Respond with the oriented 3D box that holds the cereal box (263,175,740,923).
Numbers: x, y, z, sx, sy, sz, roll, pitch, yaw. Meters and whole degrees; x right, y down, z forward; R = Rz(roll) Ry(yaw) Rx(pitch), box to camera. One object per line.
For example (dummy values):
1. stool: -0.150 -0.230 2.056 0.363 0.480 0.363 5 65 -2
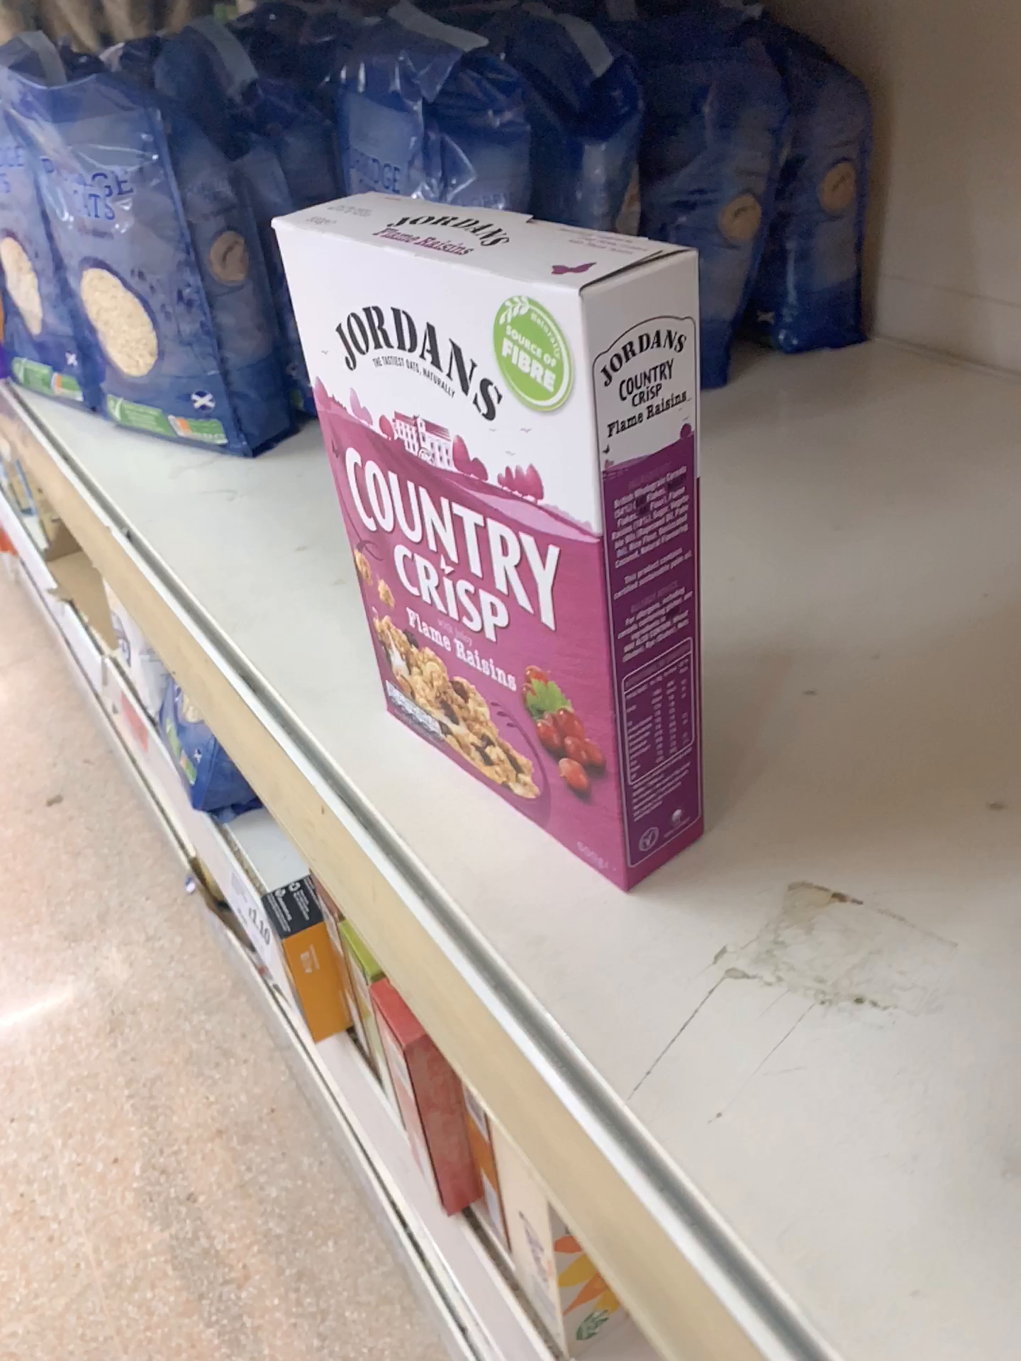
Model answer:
1. cereal box: -0.003 -0.056 0.438 0.050 0.257 0.201 -29 41 -28
